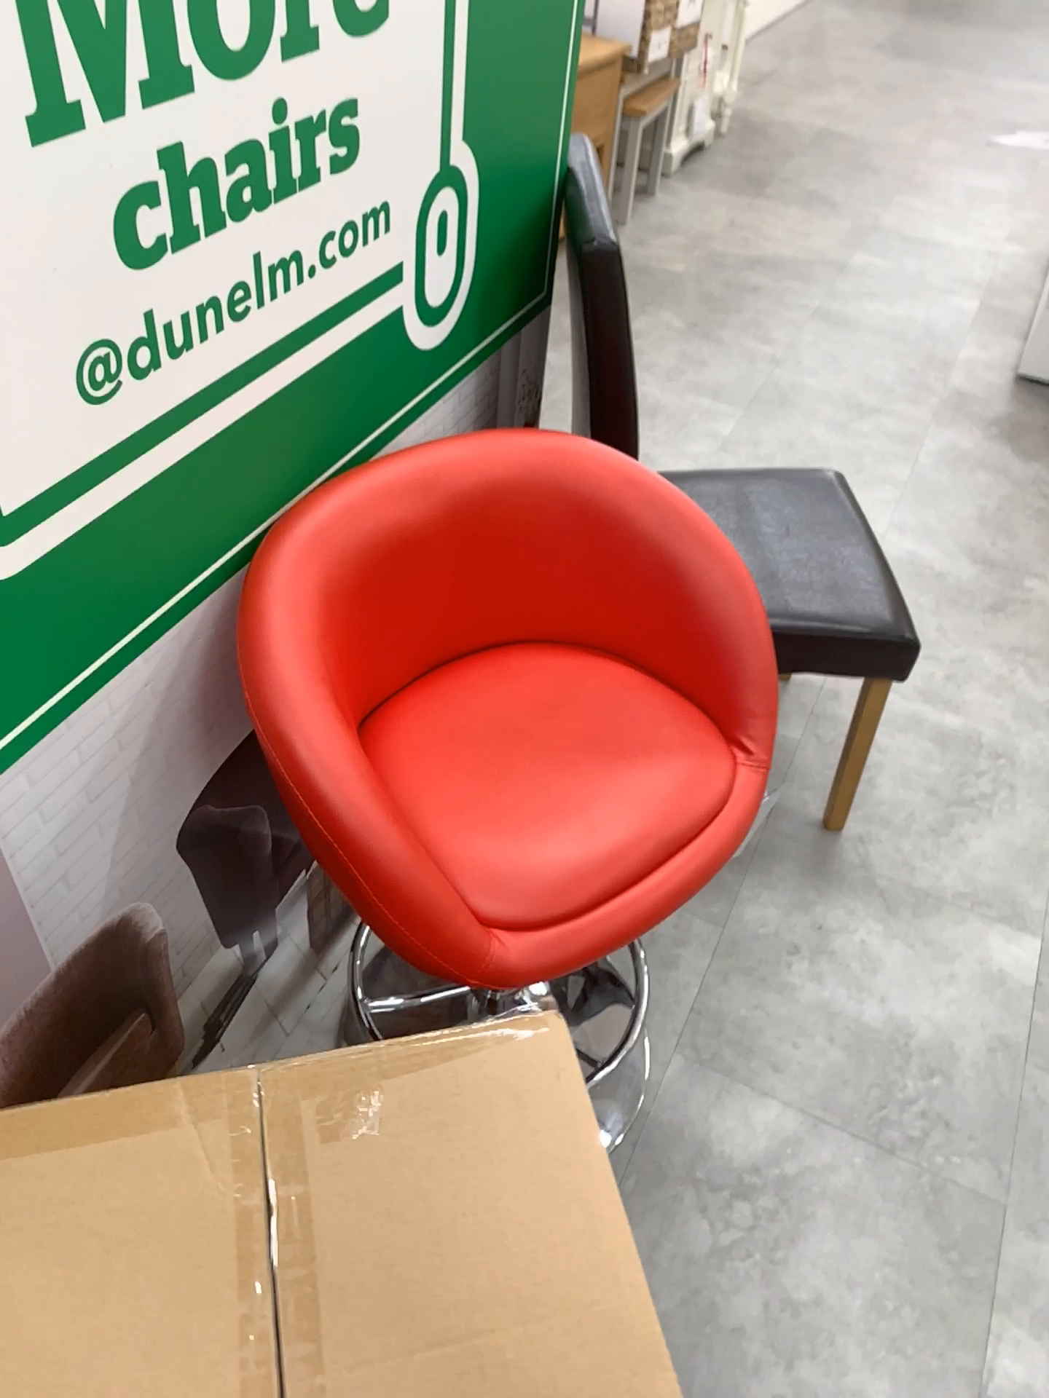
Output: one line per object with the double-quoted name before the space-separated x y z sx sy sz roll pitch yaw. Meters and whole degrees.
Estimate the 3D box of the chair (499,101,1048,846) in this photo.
"chair" 0.270 -0.270 1.488 0.530 0.853 0.509 0 44 -6

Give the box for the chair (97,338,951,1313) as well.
"chair" -0.008 0.132 1.131 0.462 0.744 0.537 34 50 26
